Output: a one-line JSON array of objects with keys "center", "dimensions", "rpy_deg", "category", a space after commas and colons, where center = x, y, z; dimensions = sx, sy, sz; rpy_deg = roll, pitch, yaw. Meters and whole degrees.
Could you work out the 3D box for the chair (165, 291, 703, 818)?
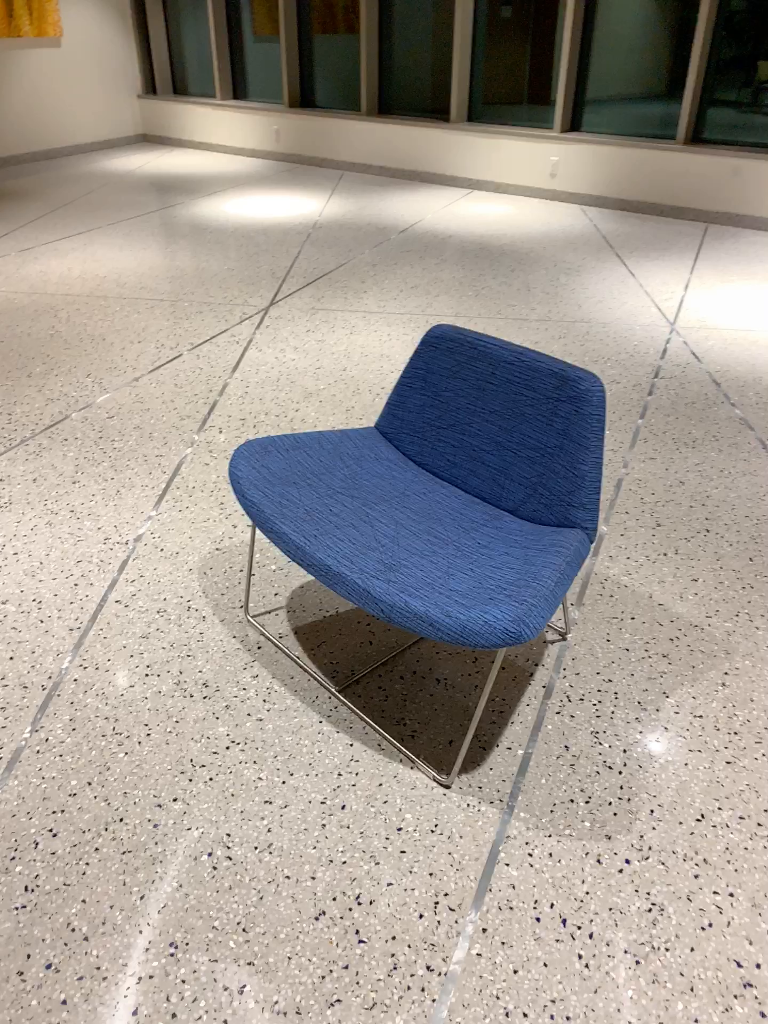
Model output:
[{"center": [0.068, -0.004, 1.835], "dimensions": [0.664, 0.698, 0.945], "rpy_deg": [-25, 40, -35], "category": "chair"}]
